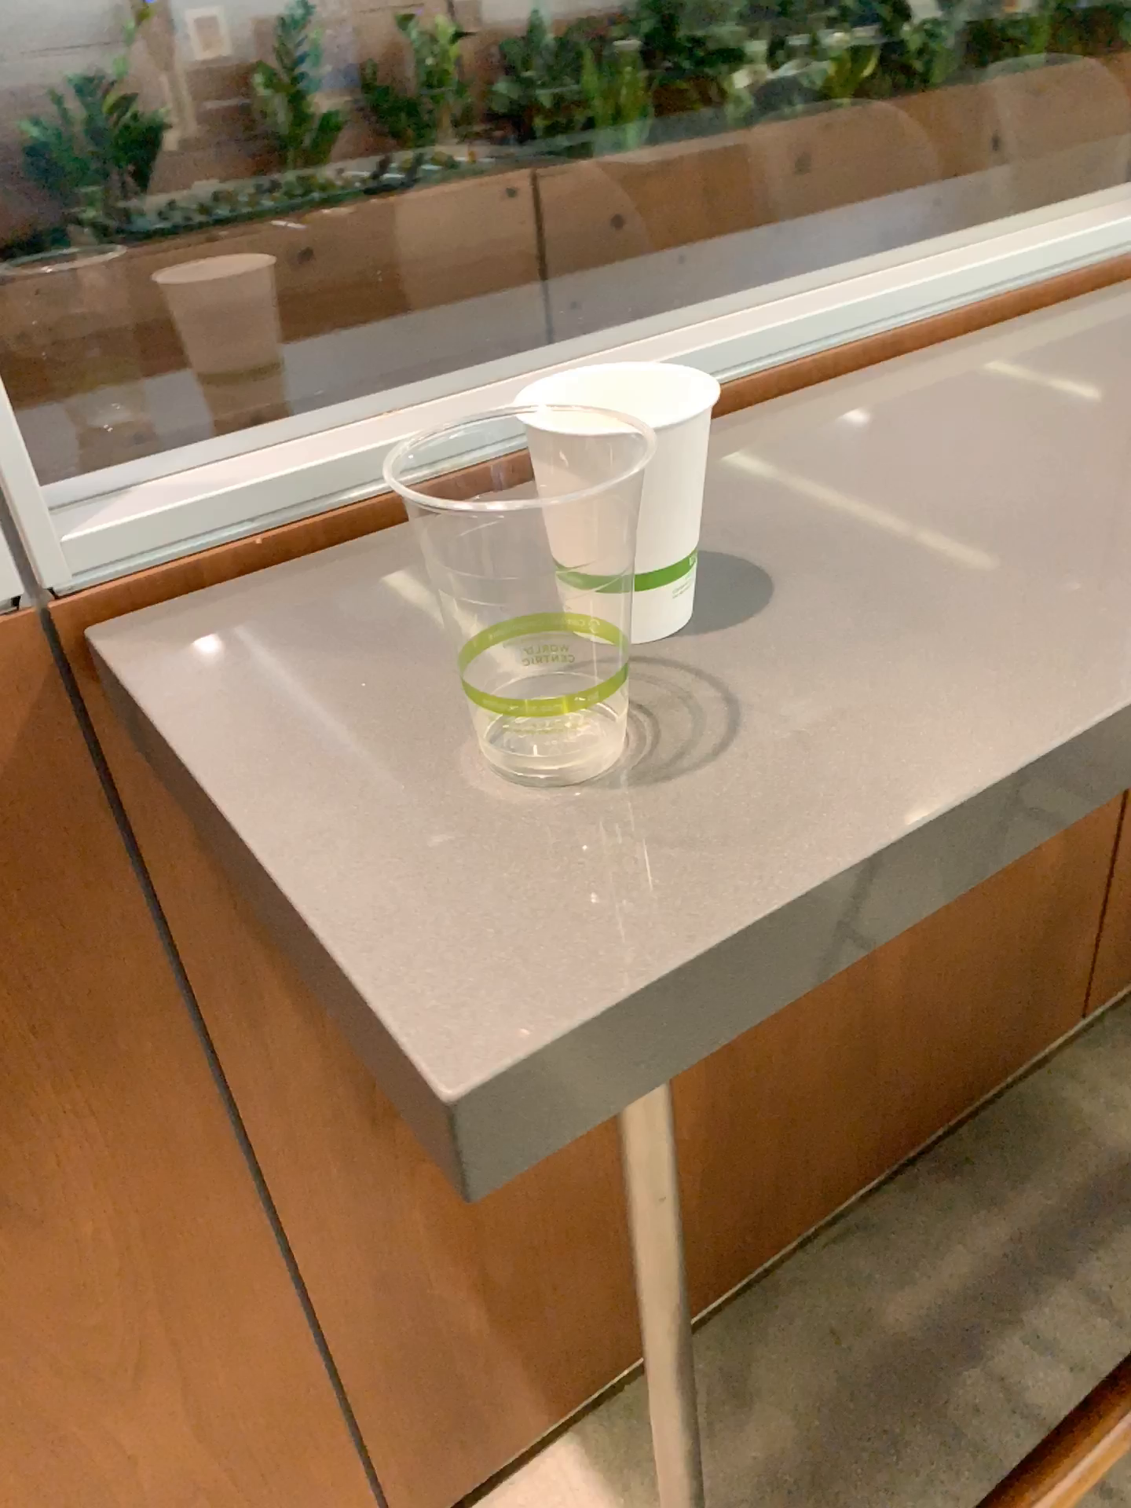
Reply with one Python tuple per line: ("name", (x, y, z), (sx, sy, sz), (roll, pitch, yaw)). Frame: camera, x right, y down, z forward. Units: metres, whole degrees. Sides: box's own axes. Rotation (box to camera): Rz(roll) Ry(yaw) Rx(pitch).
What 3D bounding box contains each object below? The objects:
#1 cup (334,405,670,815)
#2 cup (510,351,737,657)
("cup", (-0.015, -0.055, 0.432), (0.090, 0.119, 0.090), (-5, 33, 3))
("cup", (0.030, -0.114, 0.531), (0.090, 0.109, 0.080), (-2, 34, 7))
